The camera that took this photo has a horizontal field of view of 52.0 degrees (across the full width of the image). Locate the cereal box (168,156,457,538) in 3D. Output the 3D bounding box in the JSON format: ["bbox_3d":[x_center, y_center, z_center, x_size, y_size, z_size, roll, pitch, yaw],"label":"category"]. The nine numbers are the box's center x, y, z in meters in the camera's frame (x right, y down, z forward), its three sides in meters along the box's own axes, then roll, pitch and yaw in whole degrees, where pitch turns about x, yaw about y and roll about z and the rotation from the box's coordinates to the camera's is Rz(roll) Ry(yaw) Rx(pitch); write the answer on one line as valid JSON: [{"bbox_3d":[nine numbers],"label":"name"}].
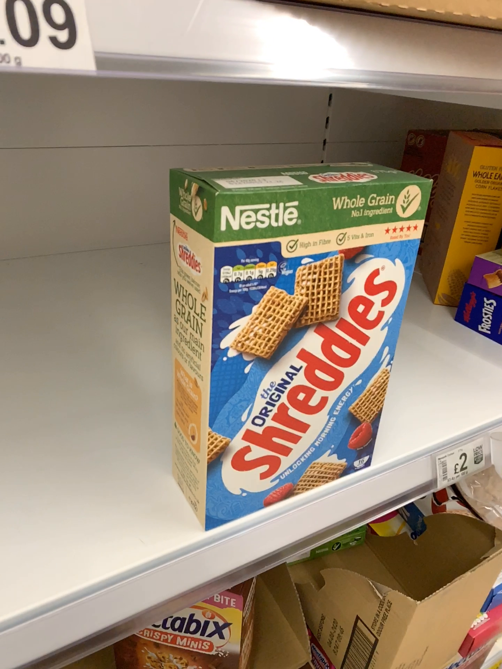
[{"bbox_3d":[0.039,0.007,0.439,0.201,0.287,0.080,-12,32,-28],"label":"cereal box"}]
